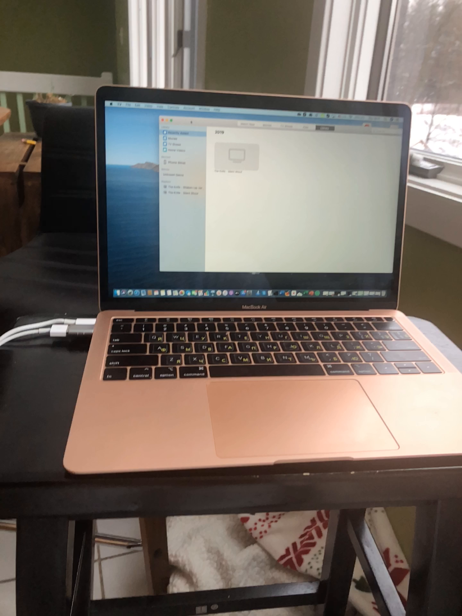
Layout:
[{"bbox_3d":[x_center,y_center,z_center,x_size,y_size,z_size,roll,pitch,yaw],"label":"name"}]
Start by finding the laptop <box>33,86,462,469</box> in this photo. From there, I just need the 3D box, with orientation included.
[{"bbox_3d":[0.040,-0.054,0.399,0.298,0.196,0.265,0,25,-8],"label":"laptop"}]
